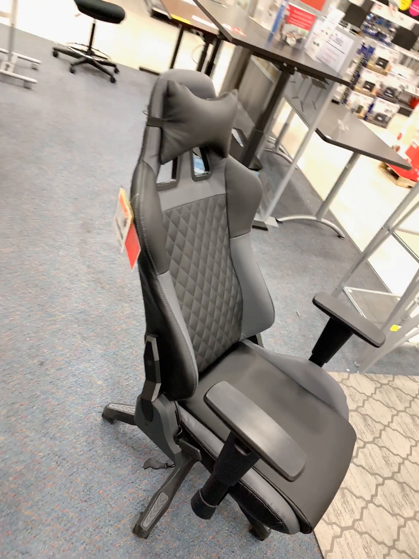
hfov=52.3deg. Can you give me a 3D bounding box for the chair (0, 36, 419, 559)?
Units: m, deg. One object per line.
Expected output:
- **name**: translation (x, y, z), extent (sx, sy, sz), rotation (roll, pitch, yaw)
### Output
- **chair**: translation (0.102, 0.123, 1.184), extent (0.912, 1.061, 0.789), rotation (38, 37, 17)

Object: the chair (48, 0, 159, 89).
- **chair**: translation (-1.038, -2.507, 3.962), extent (0.676, 0.982, 0.874), rotation (3, 41, -29)
